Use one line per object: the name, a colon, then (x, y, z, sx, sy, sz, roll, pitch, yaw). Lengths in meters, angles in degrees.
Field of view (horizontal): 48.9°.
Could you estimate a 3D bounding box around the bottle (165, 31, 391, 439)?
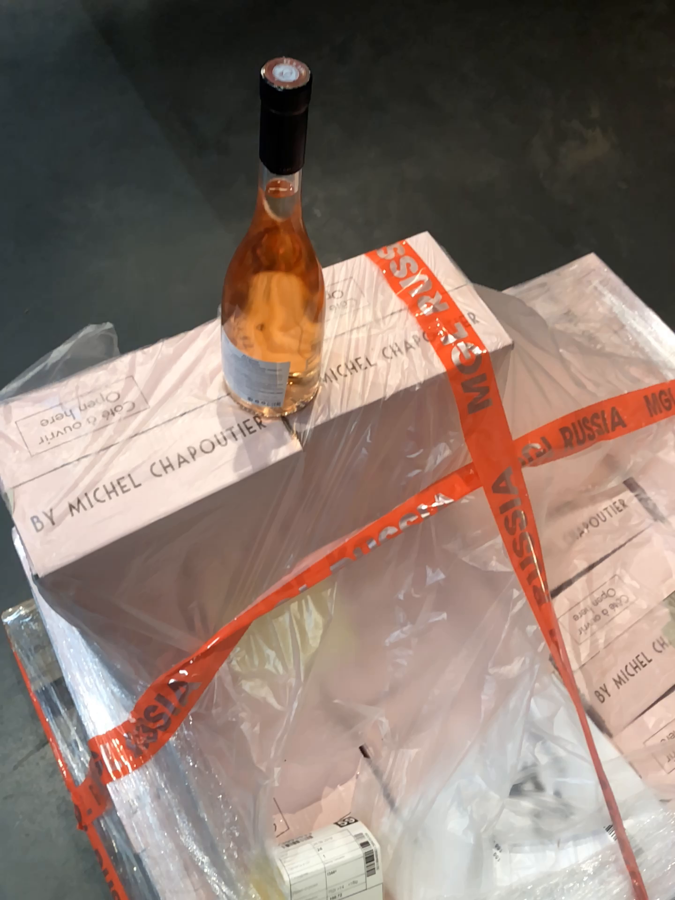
bottle: (-0.043, -0.132, 0.546, 0.096, 0.279, 0.100, 2, 62, -5)
